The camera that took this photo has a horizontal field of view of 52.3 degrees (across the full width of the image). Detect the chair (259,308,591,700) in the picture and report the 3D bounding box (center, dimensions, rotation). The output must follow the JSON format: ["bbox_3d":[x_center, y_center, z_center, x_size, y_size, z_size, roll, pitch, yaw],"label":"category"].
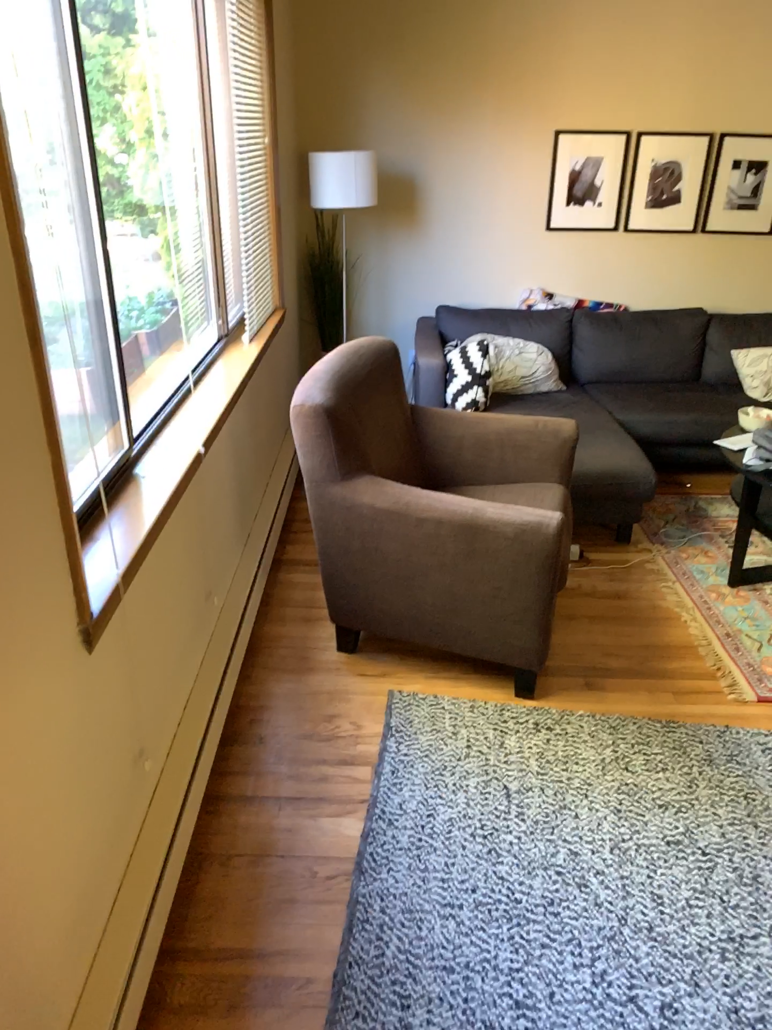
[{"bbox_3d":[0.189,-0.108,2.448,0.801,0.875,0.884,4,26,13],"label":"chair"}]
